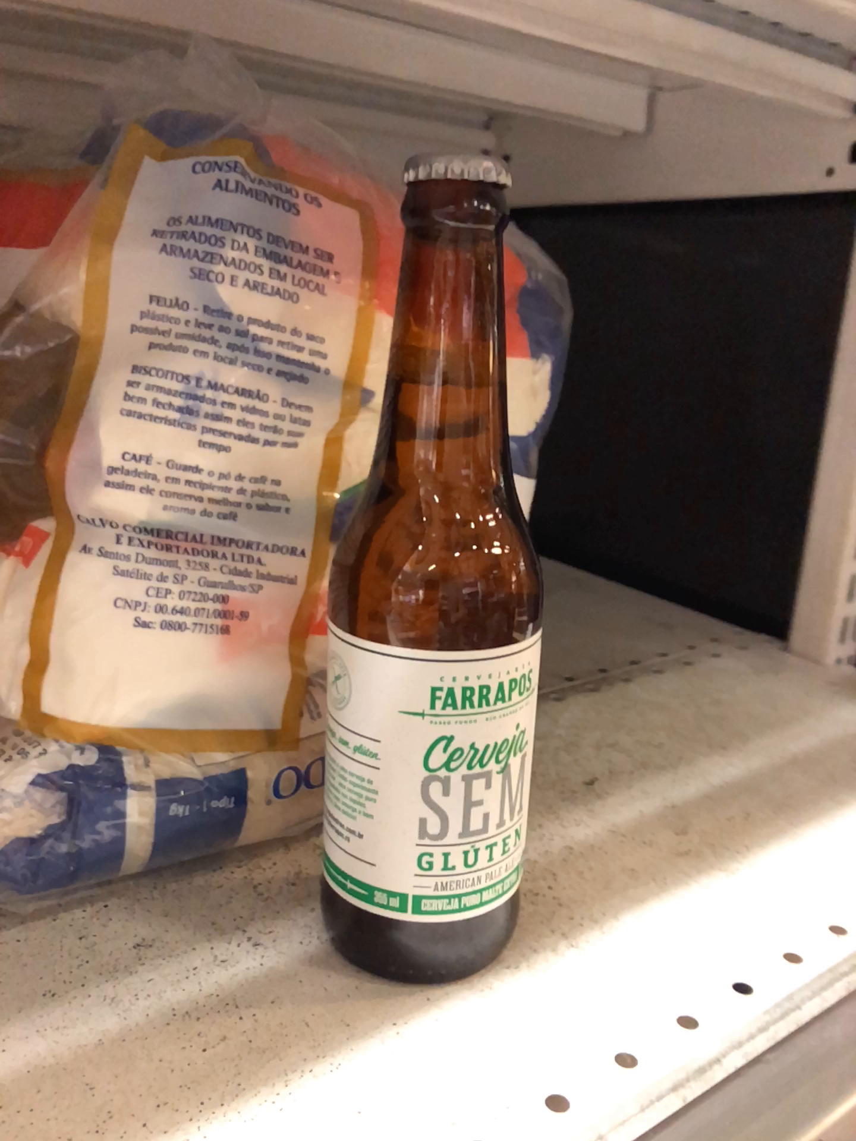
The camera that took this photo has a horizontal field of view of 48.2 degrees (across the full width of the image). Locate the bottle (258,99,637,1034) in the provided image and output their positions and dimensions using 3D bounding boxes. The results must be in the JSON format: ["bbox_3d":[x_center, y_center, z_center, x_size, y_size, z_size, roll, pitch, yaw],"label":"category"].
[{"bbox_3d":[-0.001,0.002,0.269,0.070,0.229,0.060,-7,19,-35],"label":"bottle"}]
